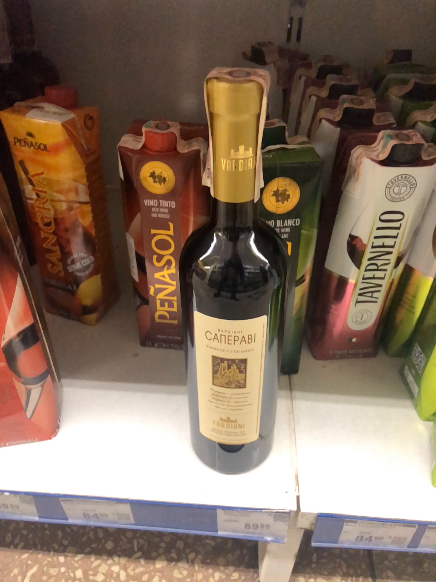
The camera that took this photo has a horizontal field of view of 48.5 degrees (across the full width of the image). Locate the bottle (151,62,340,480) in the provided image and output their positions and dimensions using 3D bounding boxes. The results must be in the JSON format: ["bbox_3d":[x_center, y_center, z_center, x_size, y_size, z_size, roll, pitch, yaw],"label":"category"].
[{"bbox_3d":[0.012,0.011,0.318,0.080,0.281,0.070,5,39,4],"label":"bottle"}]
